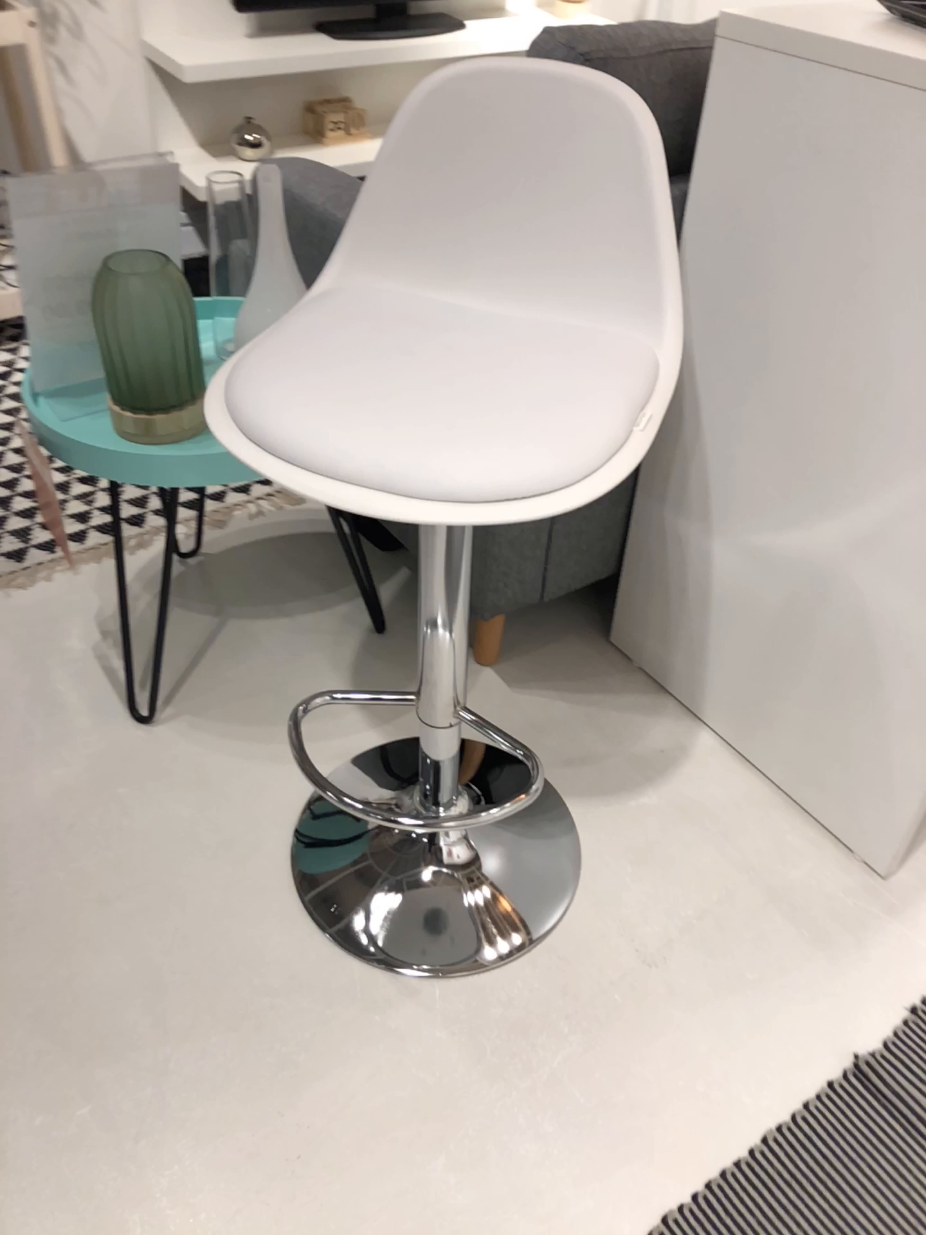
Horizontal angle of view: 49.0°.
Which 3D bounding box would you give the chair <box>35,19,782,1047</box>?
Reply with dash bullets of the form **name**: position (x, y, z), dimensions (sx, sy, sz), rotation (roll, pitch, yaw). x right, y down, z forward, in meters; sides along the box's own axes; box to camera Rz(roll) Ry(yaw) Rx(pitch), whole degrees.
- **chair**: position (-0.024, -0.054, 1.044), dimensions (0.410, 0.883, 0.423), rotation (18, 42, 19)
